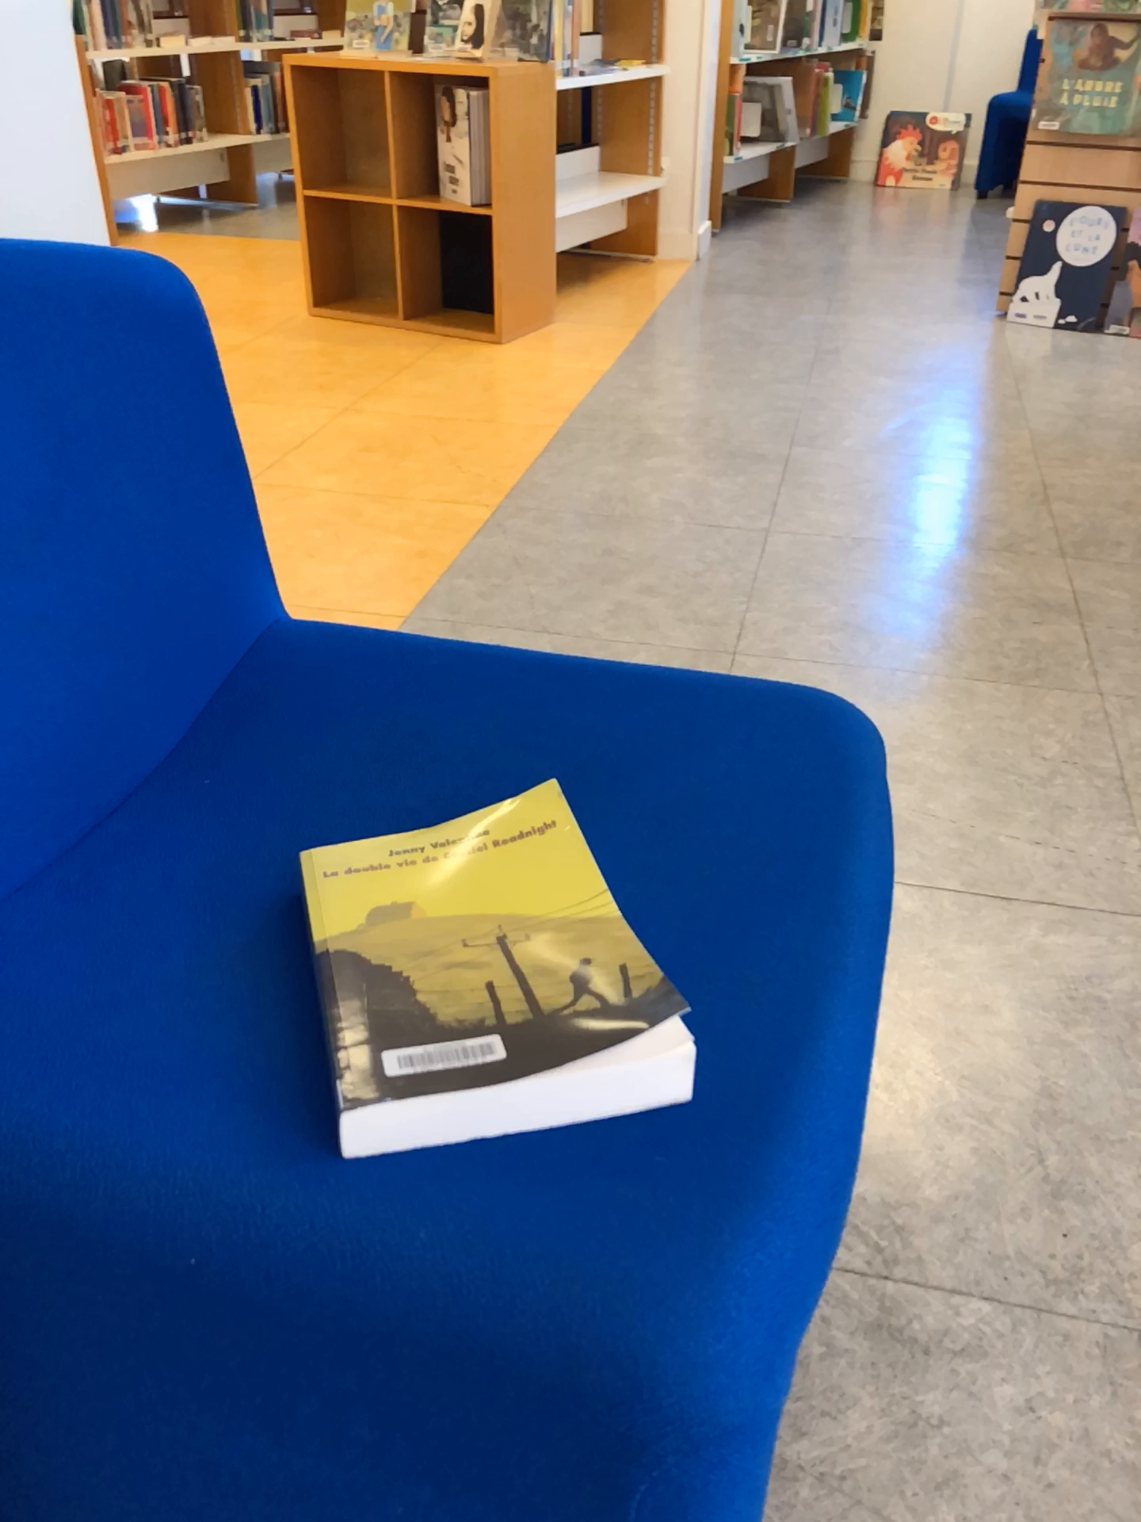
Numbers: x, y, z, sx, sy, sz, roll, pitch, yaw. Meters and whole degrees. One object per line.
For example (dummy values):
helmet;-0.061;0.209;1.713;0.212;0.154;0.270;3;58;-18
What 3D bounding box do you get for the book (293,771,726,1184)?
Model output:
book;-0.039;0.080;0.556;0.145;0.040;0.215;-8;28;-13
